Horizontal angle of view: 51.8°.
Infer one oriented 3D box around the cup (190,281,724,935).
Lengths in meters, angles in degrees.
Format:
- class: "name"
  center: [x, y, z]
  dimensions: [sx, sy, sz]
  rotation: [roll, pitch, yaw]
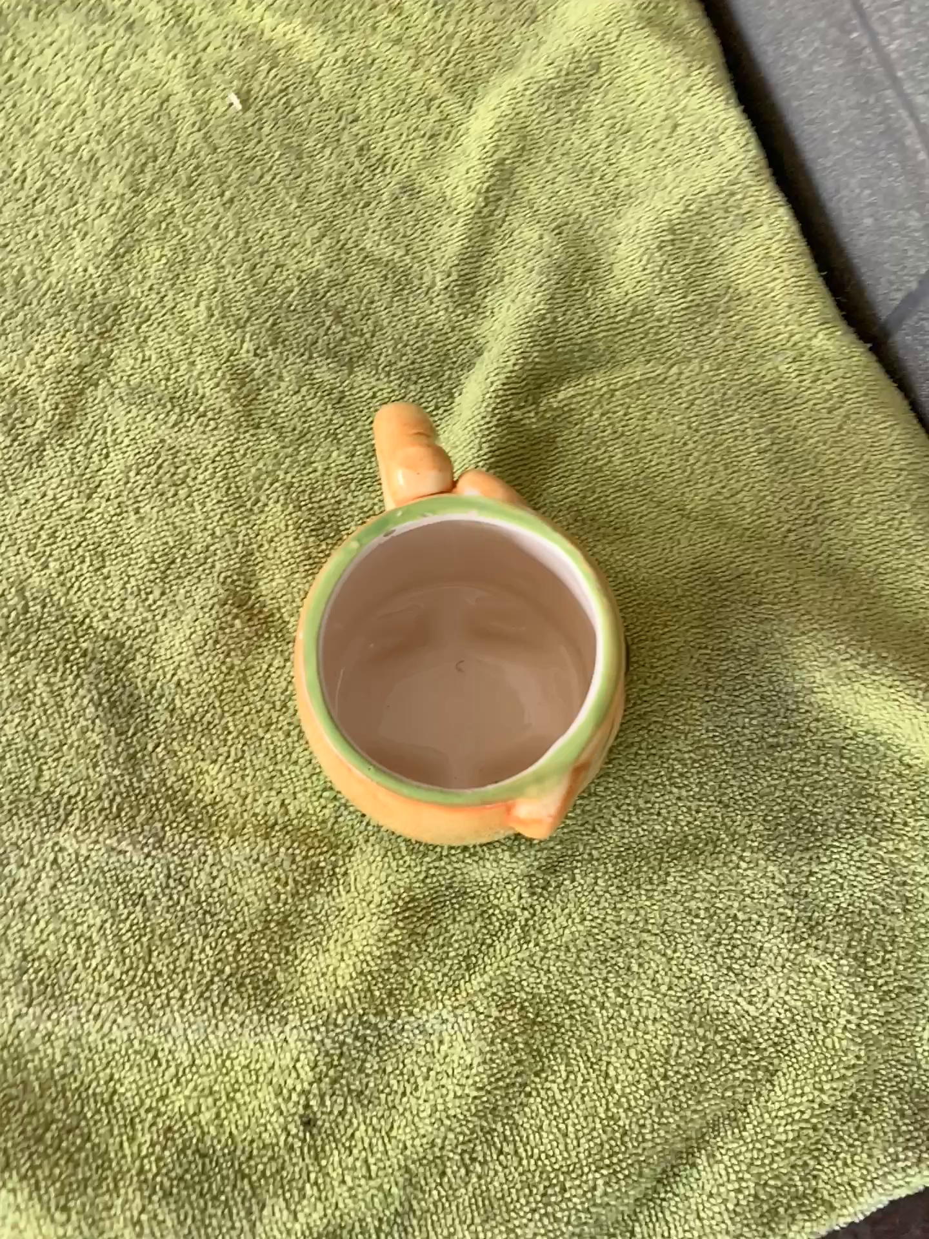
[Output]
- class: "cup"
  center: [-0.007, 0.003, 0.258]
  dimensions: [0.080, 0.100, 0.130]
  rotation: [-17, 77, -7]
